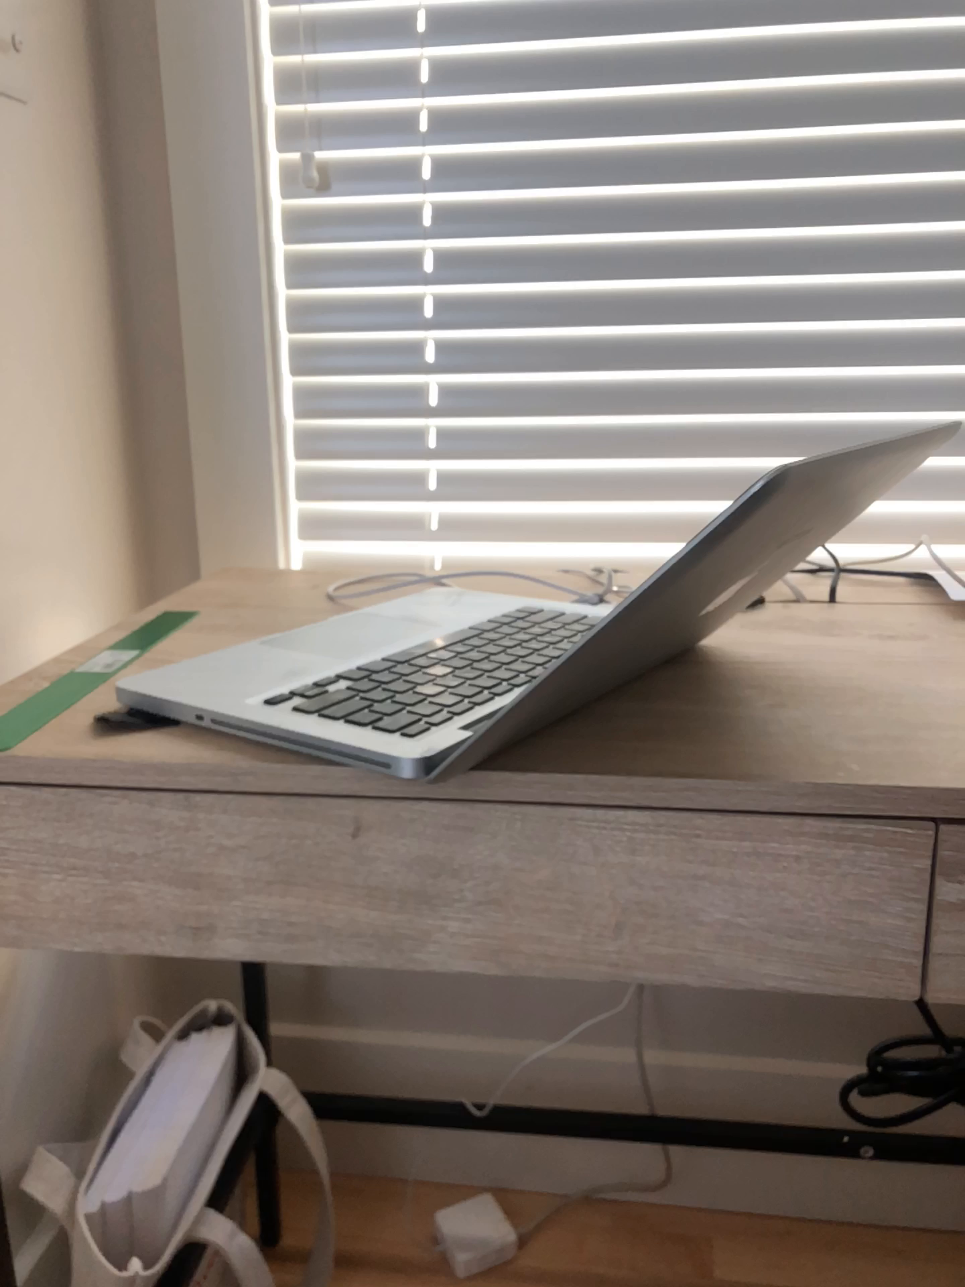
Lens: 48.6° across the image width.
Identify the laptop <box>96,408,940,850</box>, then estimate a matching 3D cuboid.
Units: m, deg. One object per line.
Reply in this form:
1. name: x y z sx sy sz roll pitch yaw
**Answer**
1. laptop: 0.036 -0.050 0.605 0.345 0.133 0.321 11 19 32
